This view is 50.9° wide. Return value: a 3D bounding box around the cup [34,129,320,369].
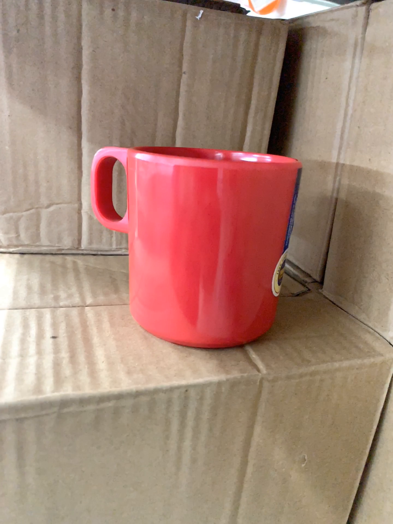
[{"bbox_3d":[-0.011,-0.019,0.201,0.110,0.079,0.070,16,23,31],"label":"cup"}]
